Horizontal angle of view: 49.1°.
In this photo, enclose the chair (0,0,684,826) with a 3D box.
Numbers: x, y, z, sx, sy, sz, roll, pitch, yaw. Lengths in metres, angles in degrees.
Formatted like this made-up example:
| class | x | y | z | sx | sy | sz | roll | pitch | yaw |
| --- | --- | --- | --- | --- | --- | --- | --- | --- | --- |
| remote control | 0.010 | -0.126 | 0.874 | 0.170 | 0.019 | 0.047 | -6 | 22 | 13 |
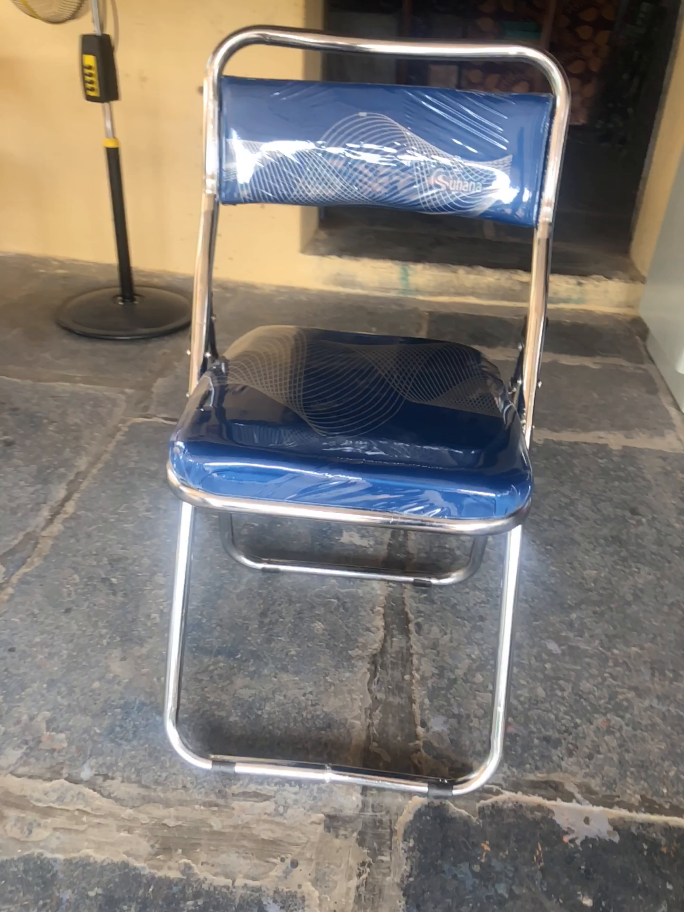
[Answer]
| class | x | y | z | sx | sy | sz | roll | pitch | yaw |
| --- | --- | --- | --- | --- | --- | --- | --- | --- | --- |
| chair | 0.022 | -0.065 | 0.905 | 0.500 | 0.805 | 0.513 | 4 | 30 | 2 |
